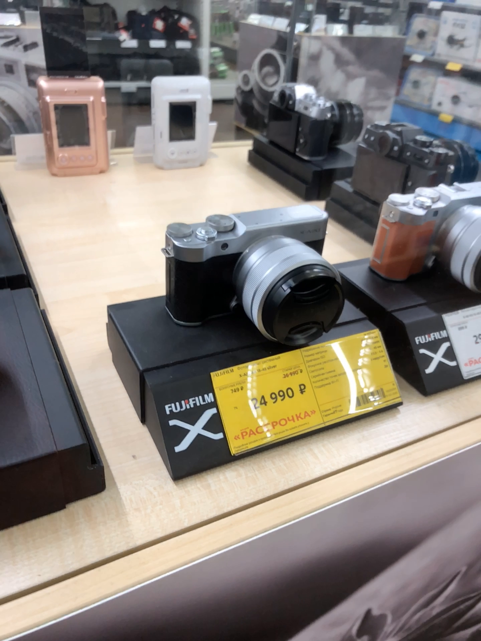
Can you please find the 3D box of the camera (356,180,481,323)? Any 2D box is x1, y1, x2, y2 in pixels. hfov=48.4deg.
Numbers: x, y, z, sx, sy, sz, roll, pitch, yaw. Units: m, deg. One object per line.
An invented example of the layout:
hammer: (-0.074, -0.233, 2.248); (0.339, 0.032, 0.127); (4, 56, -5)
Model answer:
camera: (0.182, -0.063, 0.446); (0.128, 0.072, 0.088); (-12, 36, -24)

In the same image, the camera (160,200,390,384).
camera: (0.018, -0.026, 0.360); (0.120, 0.072, 0.088); (-12, 36, -24)
